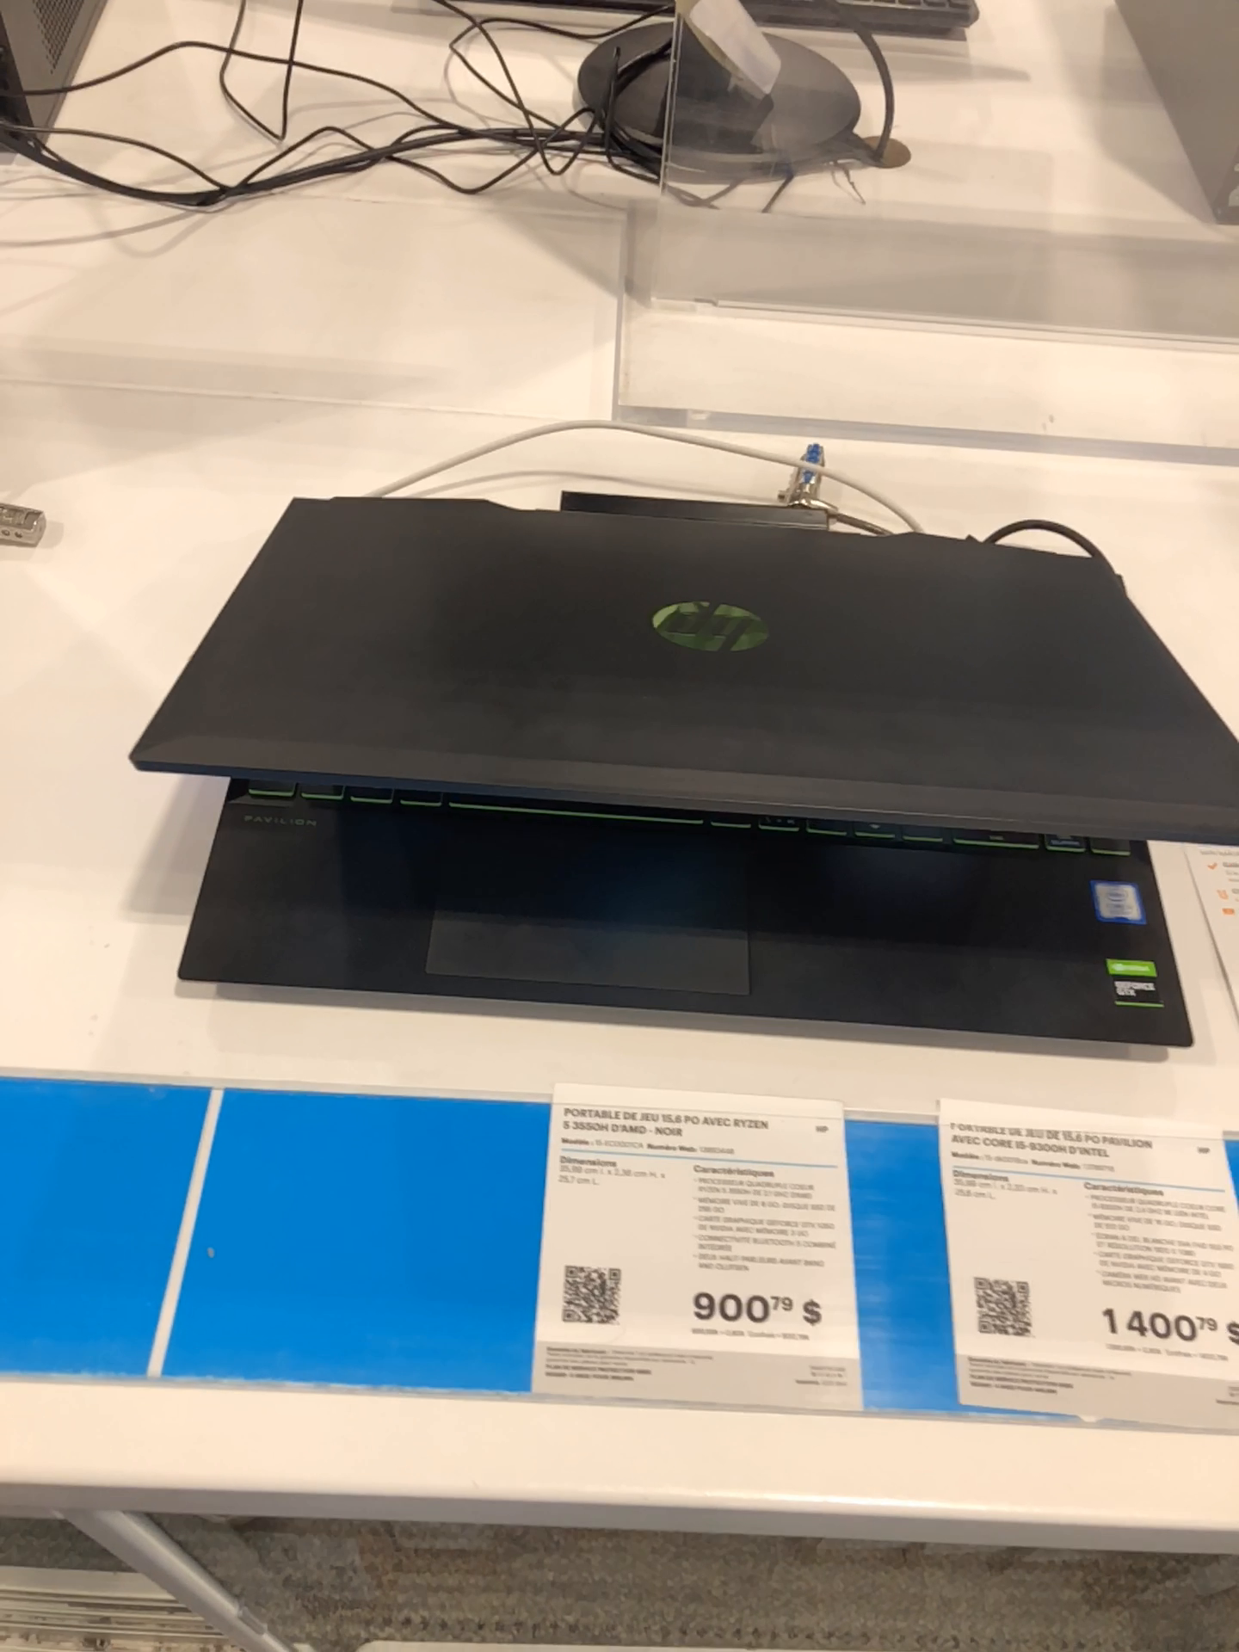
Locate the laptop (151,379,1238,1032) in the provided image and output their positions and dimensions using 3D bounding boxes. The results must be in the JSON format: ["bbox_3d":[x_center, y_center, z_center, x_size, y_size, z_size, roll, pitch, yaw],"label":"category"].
[{"bbox_3d":[0.029,-0.051,0.505,0.339,0.064,0.222,3,58,-2],"label":"laptop"}]
